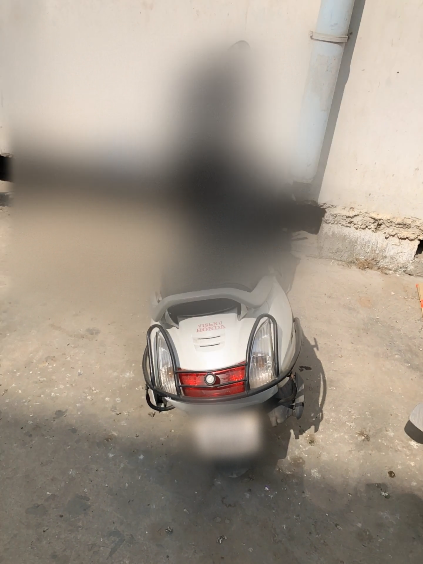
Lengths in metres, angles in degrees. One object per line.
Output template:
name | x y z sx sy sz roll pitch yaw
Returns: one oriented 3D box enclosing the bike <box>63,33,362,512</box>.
bike | -0.174 -0.135 1.767 0.625 1.122 1.307 -1 36 -11
